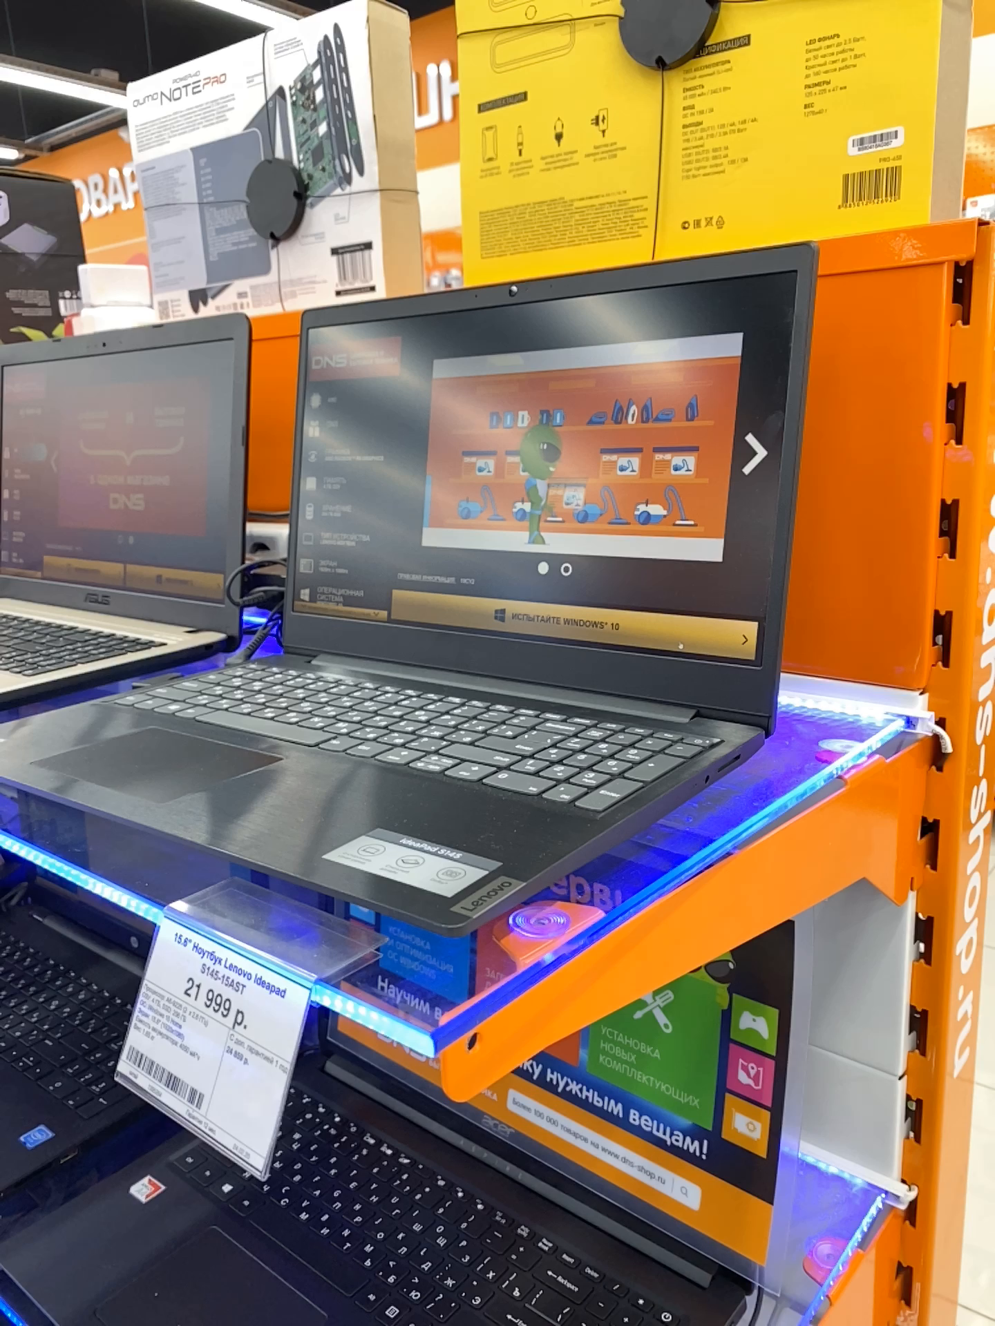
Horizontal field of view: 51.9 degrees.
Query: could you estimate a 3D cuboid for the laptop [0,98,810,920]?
[{"bbox_3d":[-0.077,-0.080,0.514,0.359,0.233,0.297,7,15,37],"label":"laptop"}]
